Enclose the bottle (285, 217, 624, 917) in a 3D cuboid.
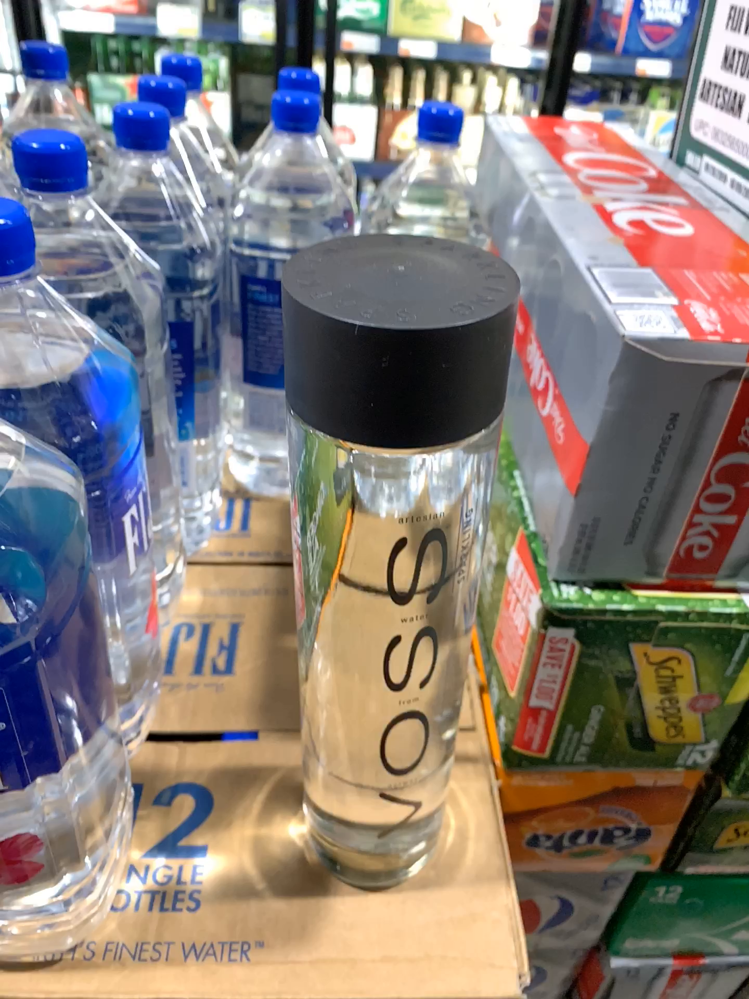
[{"bbox_3d":[0.008,0.051,0.302,0.080,0.288,0.080,3,37,-2],"label":"bottle"}]
